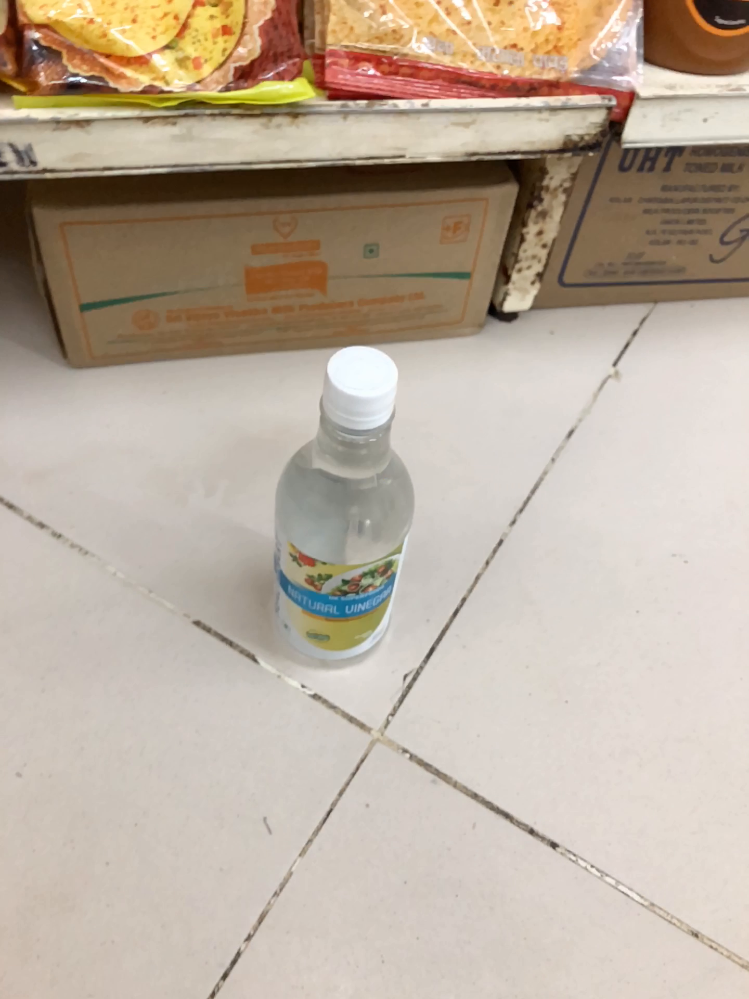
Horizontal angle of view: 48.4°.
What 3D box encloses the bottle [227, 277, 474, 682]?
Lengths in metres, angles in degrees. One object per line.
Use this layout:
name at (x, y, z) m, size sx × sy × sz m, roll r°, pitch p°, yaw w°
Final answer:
bottle at (-0.016, 0.002, 0.433) m, size 0.090 × 0.199 × 0.091 m, roll 4°, pitch 52°, yaw -5°
